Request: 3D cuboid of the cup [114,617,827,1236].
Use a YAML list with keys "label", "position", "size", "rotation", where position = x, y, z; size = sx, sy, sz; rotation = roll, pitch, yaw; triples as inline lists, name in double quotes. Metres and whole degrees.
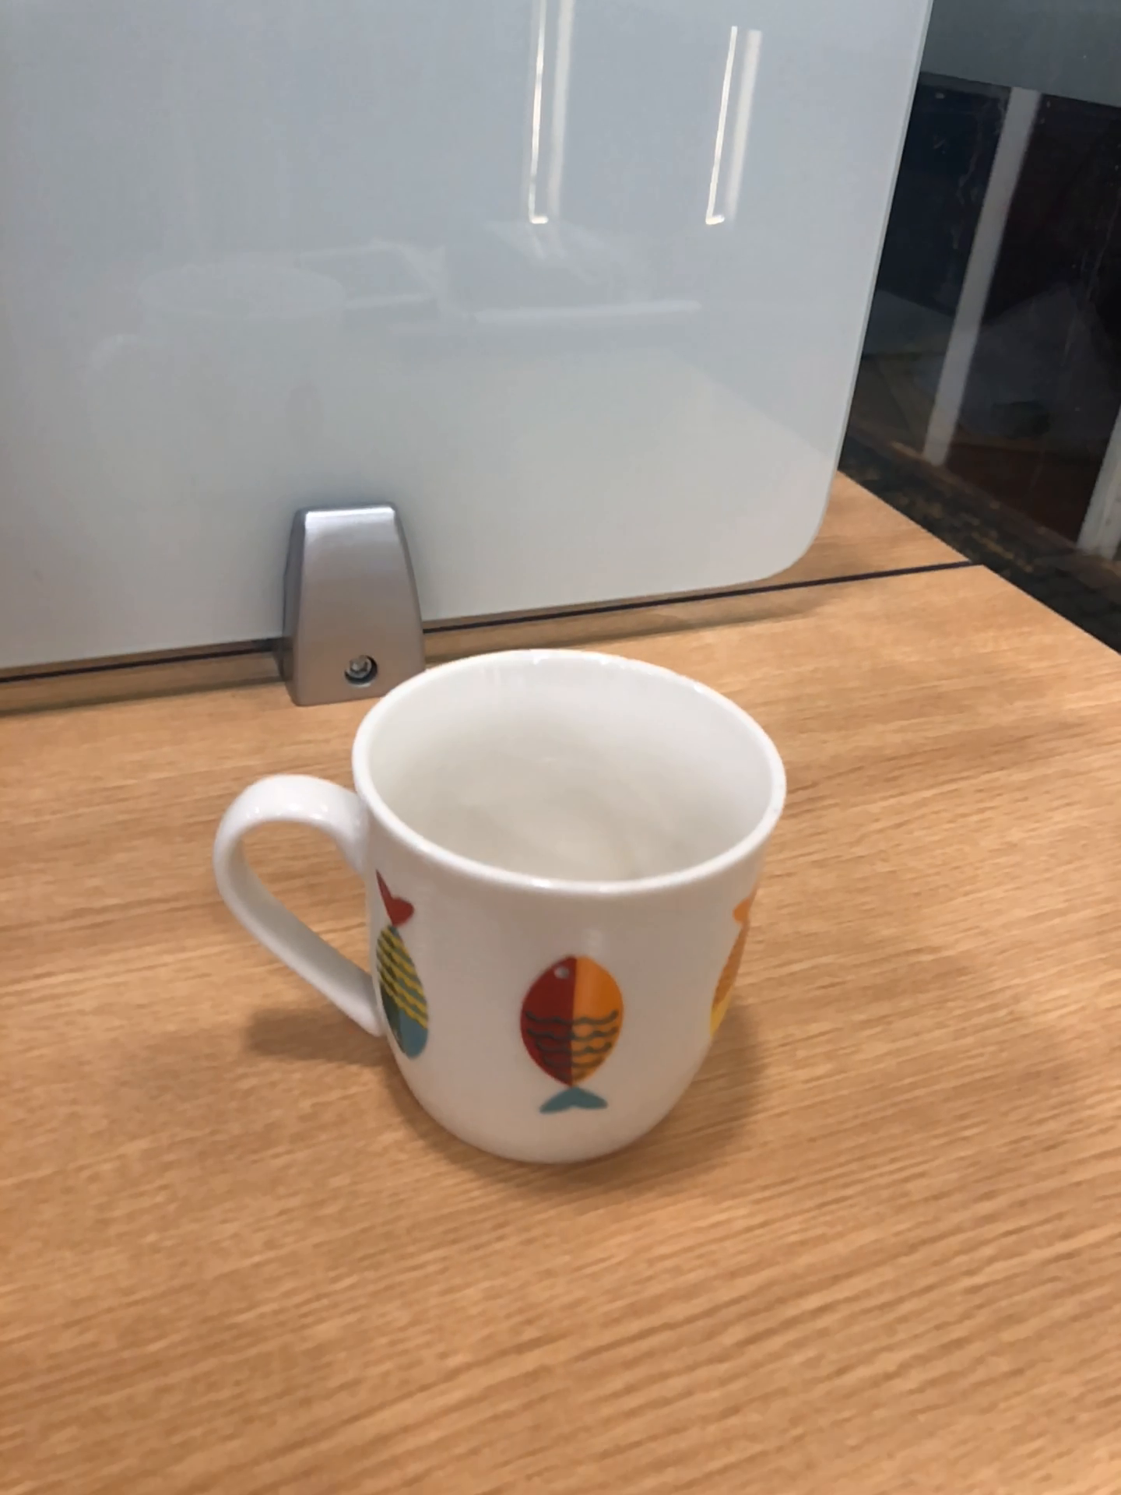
- label: "cup"
  position: [-0.018, 0.035, 0.250]
  size: [0.110, 0.090, 0.080]
  rotation: [2, 33, -5]
